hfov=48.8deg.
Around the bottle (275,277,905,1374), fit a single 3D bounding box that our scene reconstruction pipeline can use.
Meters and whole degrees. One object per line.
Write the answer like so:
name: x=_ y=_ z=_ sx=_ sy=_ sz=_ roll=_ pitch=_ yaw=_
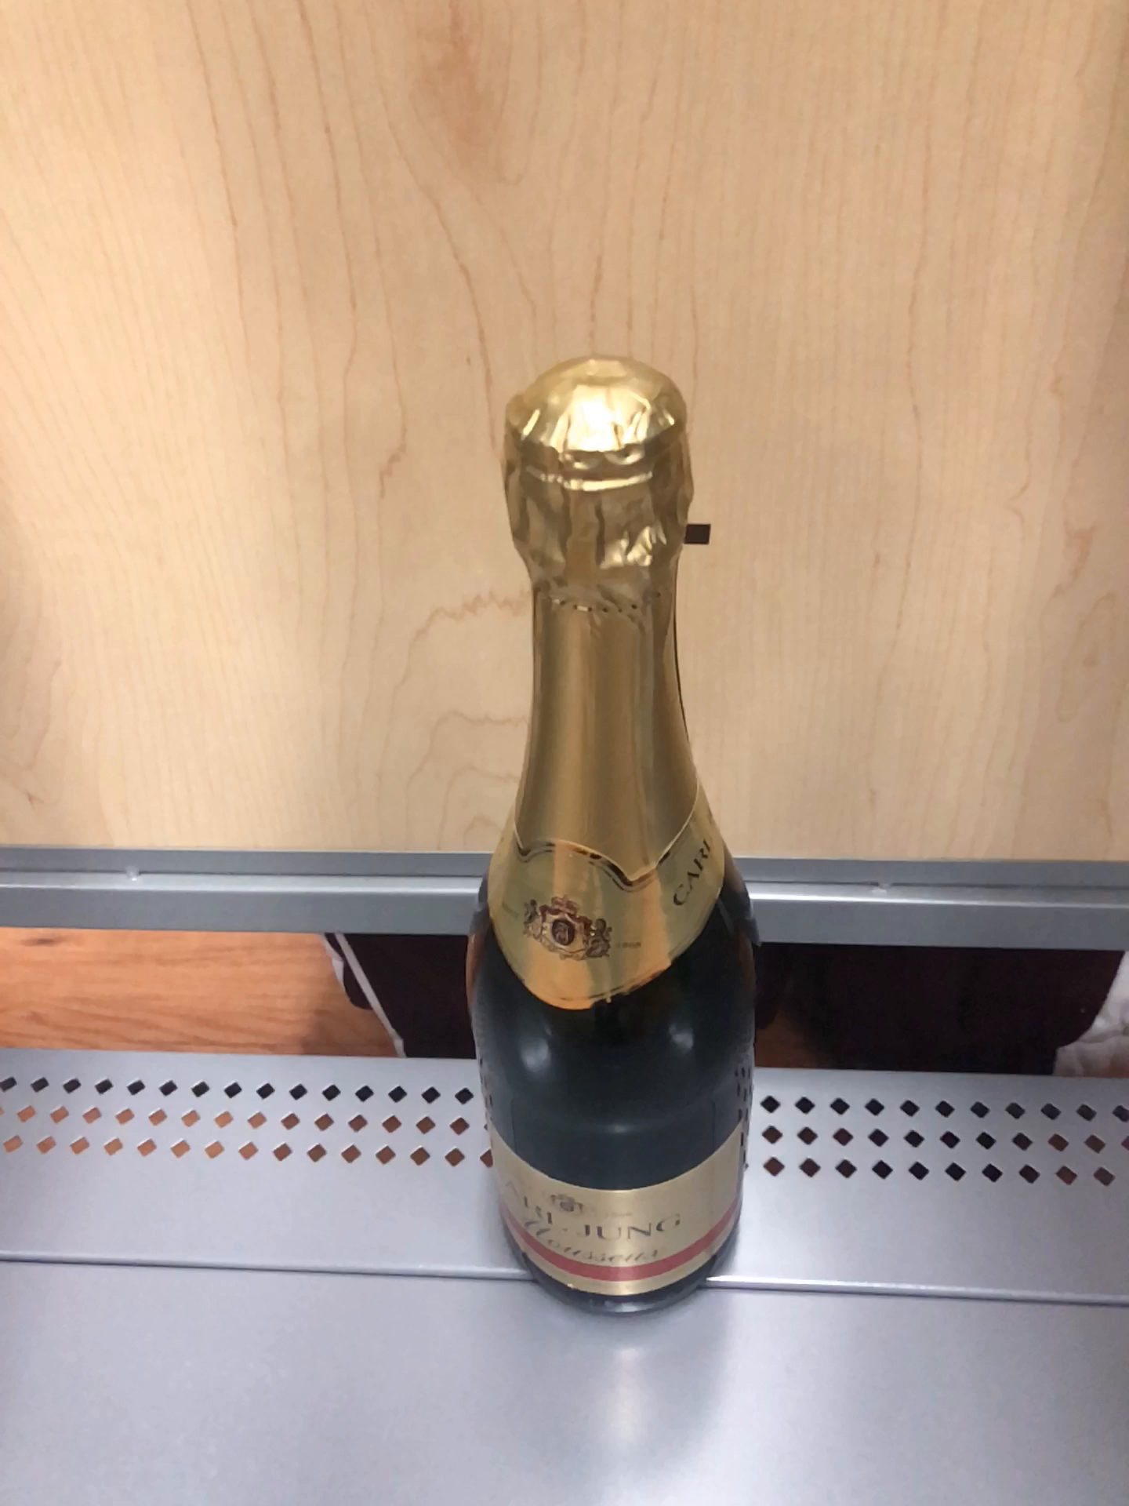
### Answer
bottle: x=0.014 y=0.042 z=0.340 sx=0.090 sy=0.298 sz=0.090 roll=-2 pitch=41 yaw=2
